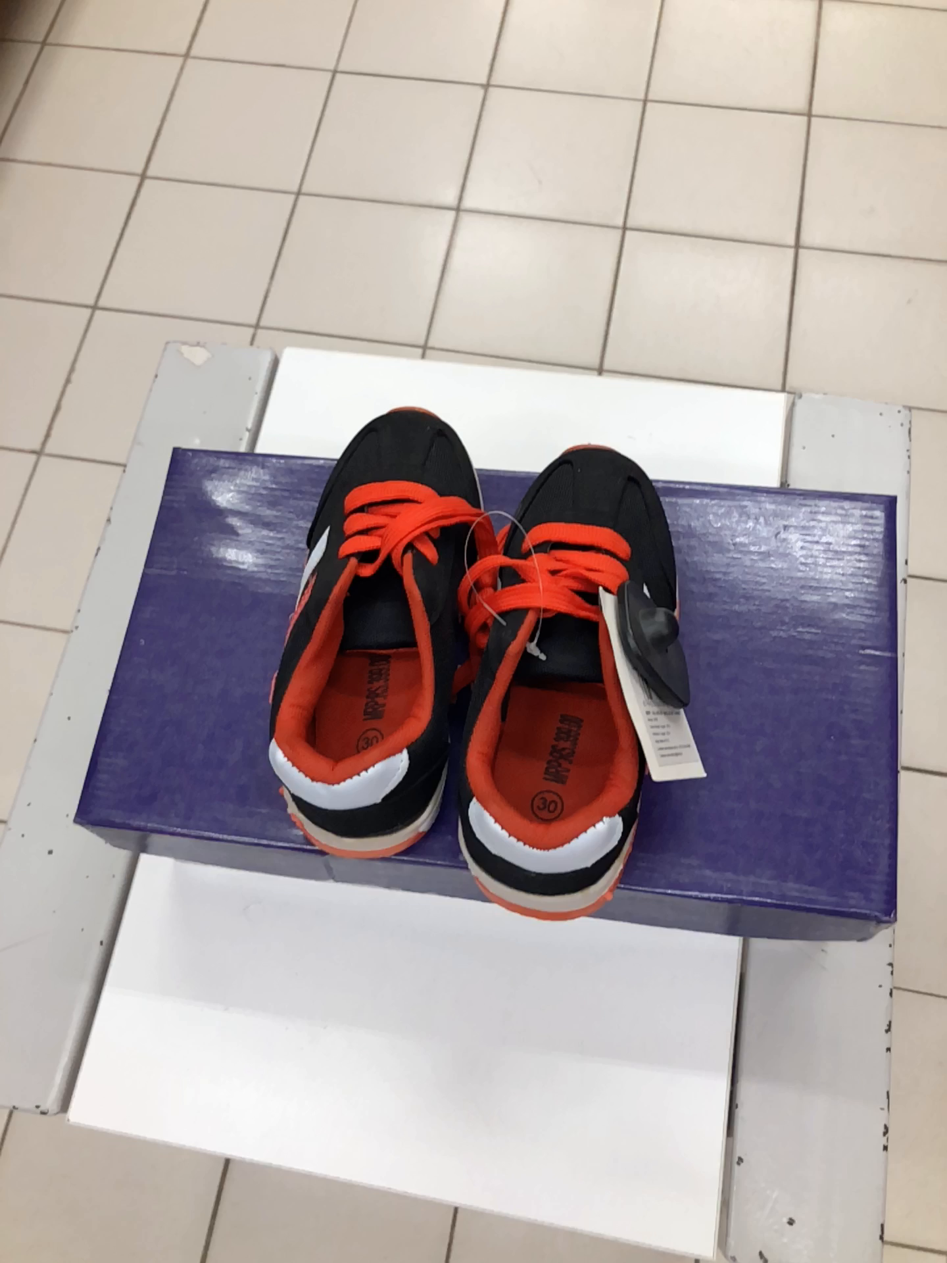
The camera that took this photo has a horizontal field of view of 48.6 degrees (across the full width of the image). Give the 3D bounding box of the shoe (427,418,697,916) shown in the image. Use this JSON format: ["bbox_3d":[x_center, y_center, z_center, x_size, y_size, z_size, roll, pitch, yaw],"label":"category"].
[{"bbox_3d":[0.038,0.017,0.422,0.080,0.100,0.170,6,69,6],"label":"shoe"}]

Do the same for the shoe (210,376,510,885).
[{"bbox_3d":[-0.036,0.002,0.435,0.080,0.100,0.180,6,69,6],"label":"shoe"}]
